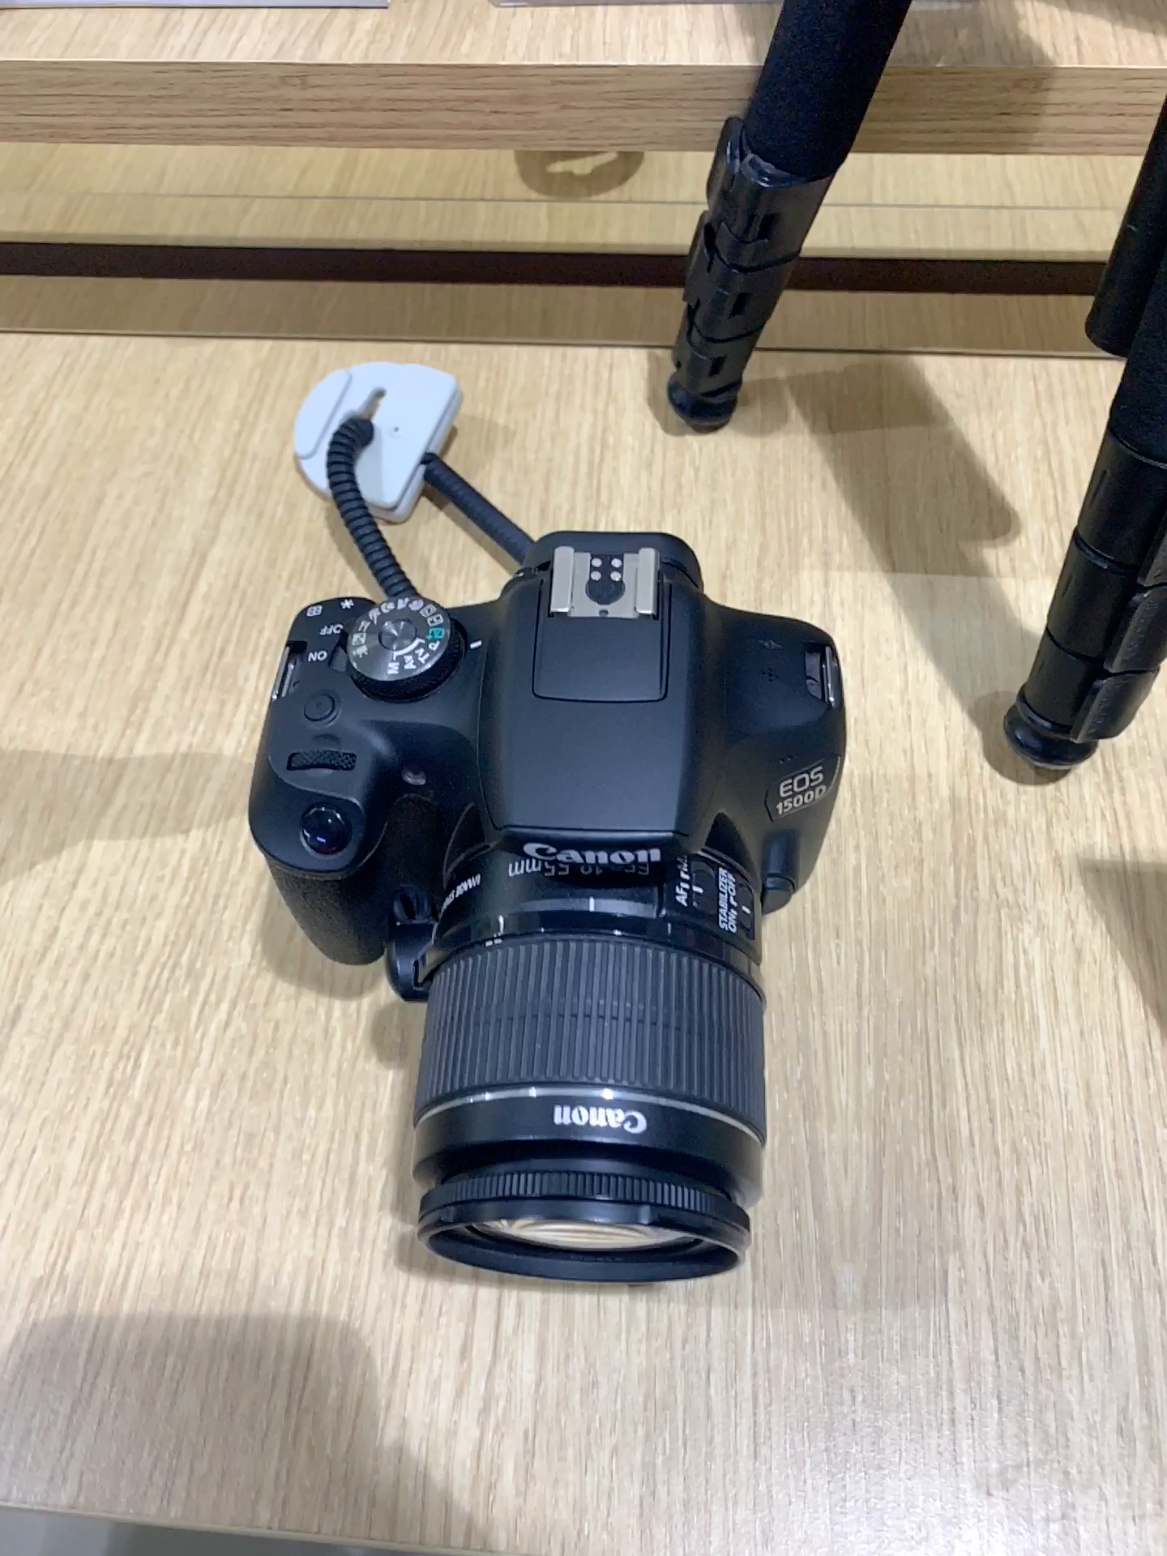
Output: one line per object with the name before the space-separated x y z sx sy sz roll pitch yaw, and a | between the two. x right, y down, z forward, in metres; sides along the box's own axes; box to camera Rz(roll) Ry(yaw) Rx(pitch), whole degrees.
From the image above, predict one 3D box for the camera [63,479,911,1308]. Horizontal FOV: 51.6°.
camera | -0.010 0.022 0.247 0.121 0.088 0.140 1 56 3
